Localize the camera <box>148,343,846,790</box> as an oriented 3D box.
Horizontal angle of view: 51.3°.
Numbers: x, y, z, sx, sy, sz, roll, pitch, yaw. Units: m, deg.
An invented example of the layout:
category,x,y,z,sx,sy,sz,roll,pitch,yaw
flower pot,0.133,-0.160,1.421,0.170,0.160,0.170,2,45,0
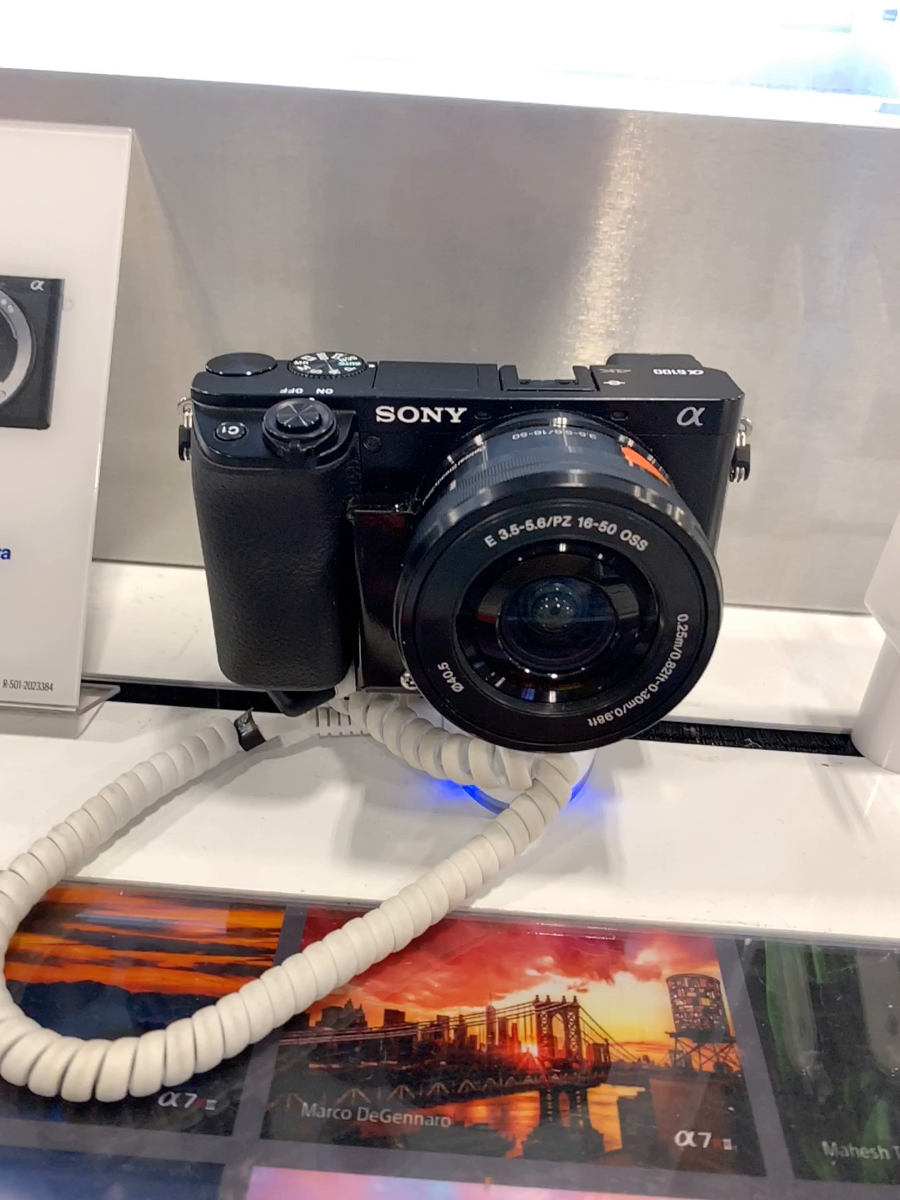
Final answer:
category,x,y,z,sx,sy,sz,roll,pitch,yaw
camera,0.005,-0.010,0.208,0.120,0.070,0.070,0,33,-6
